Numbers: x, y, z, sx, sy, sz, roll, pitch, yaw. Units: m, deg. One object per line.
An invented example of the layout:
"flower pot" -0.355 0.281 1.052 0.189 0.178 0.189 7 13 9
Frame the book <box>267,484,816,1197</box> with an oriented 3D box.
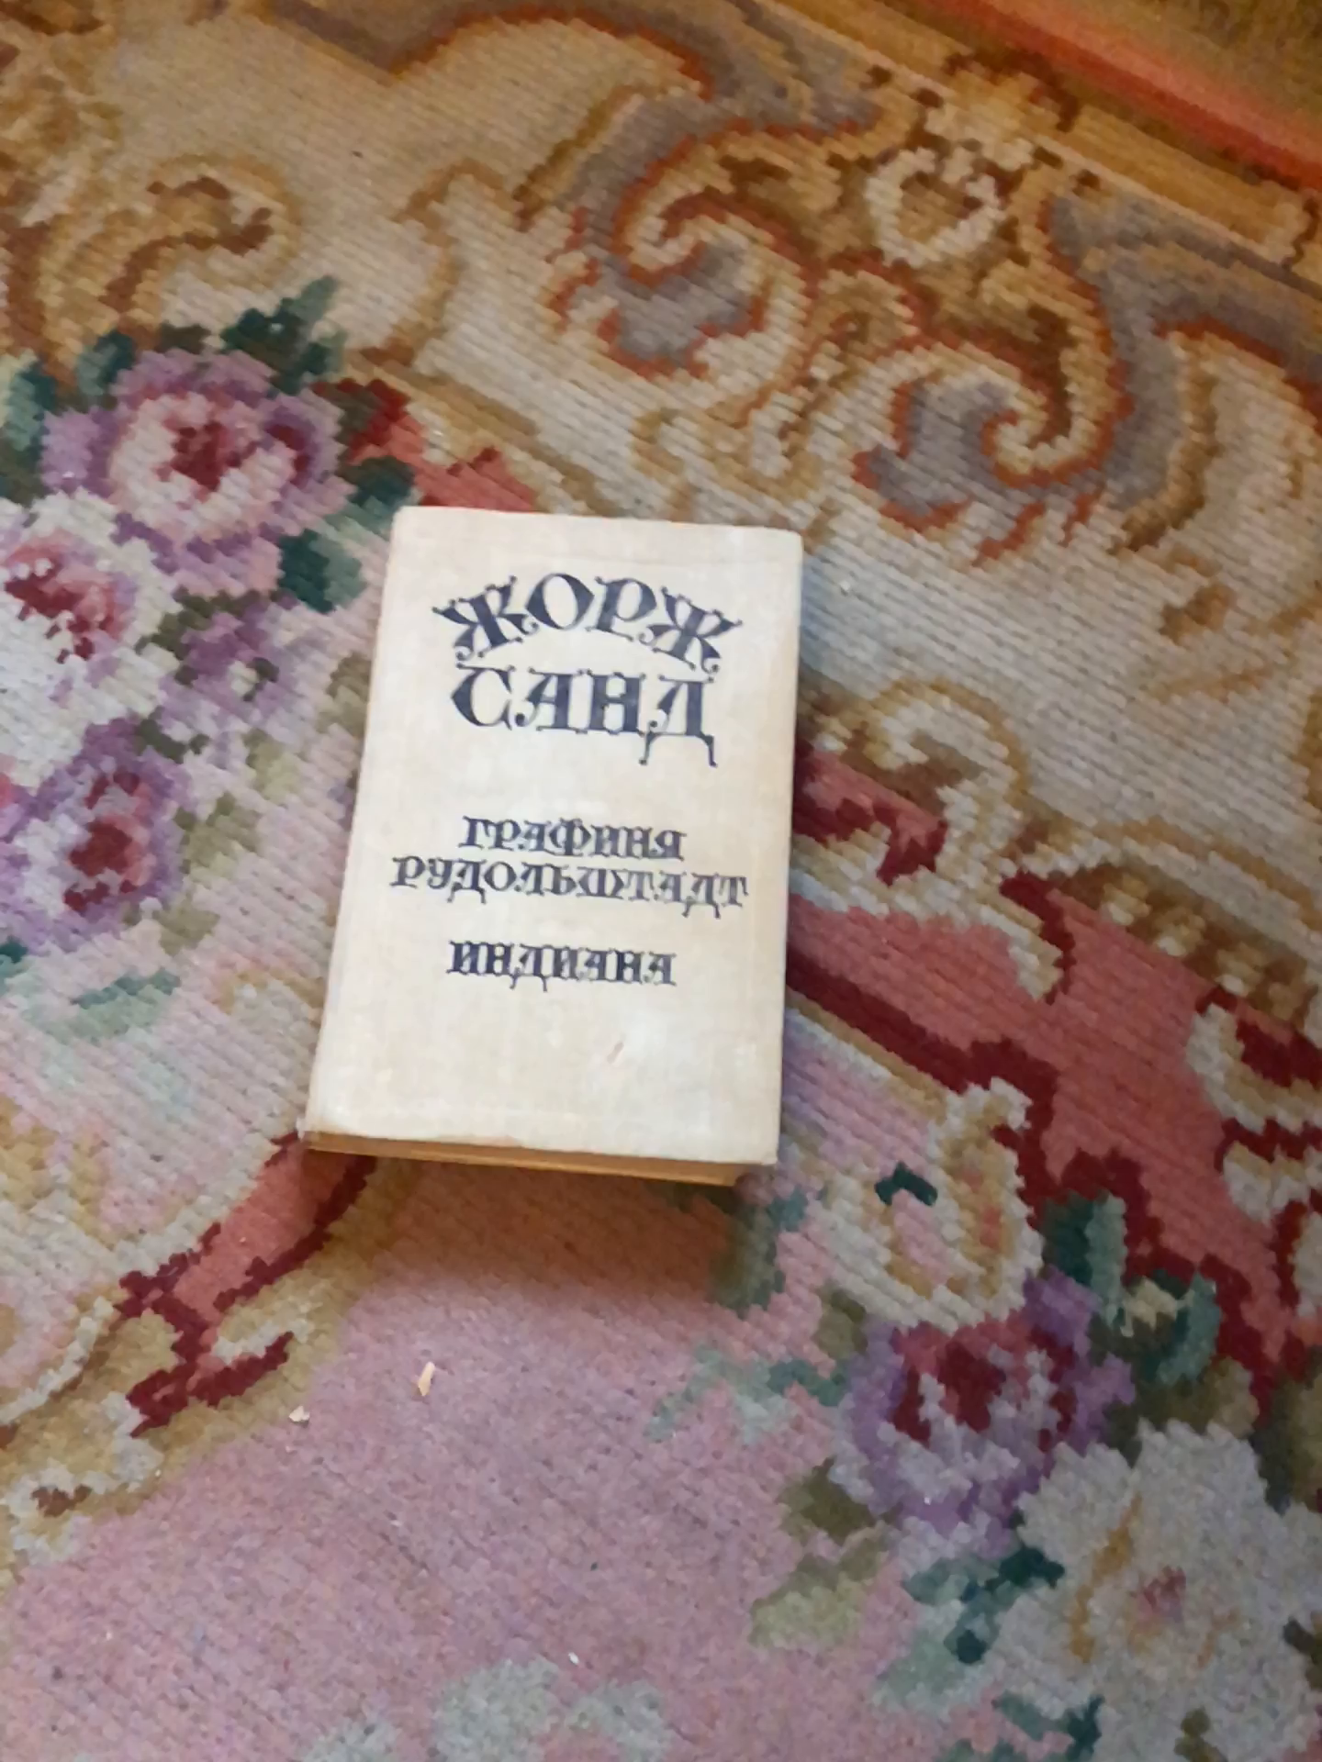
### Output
"book" -0.031 -0.016 0.483 0.150 0.057 0.220 4 71 1
